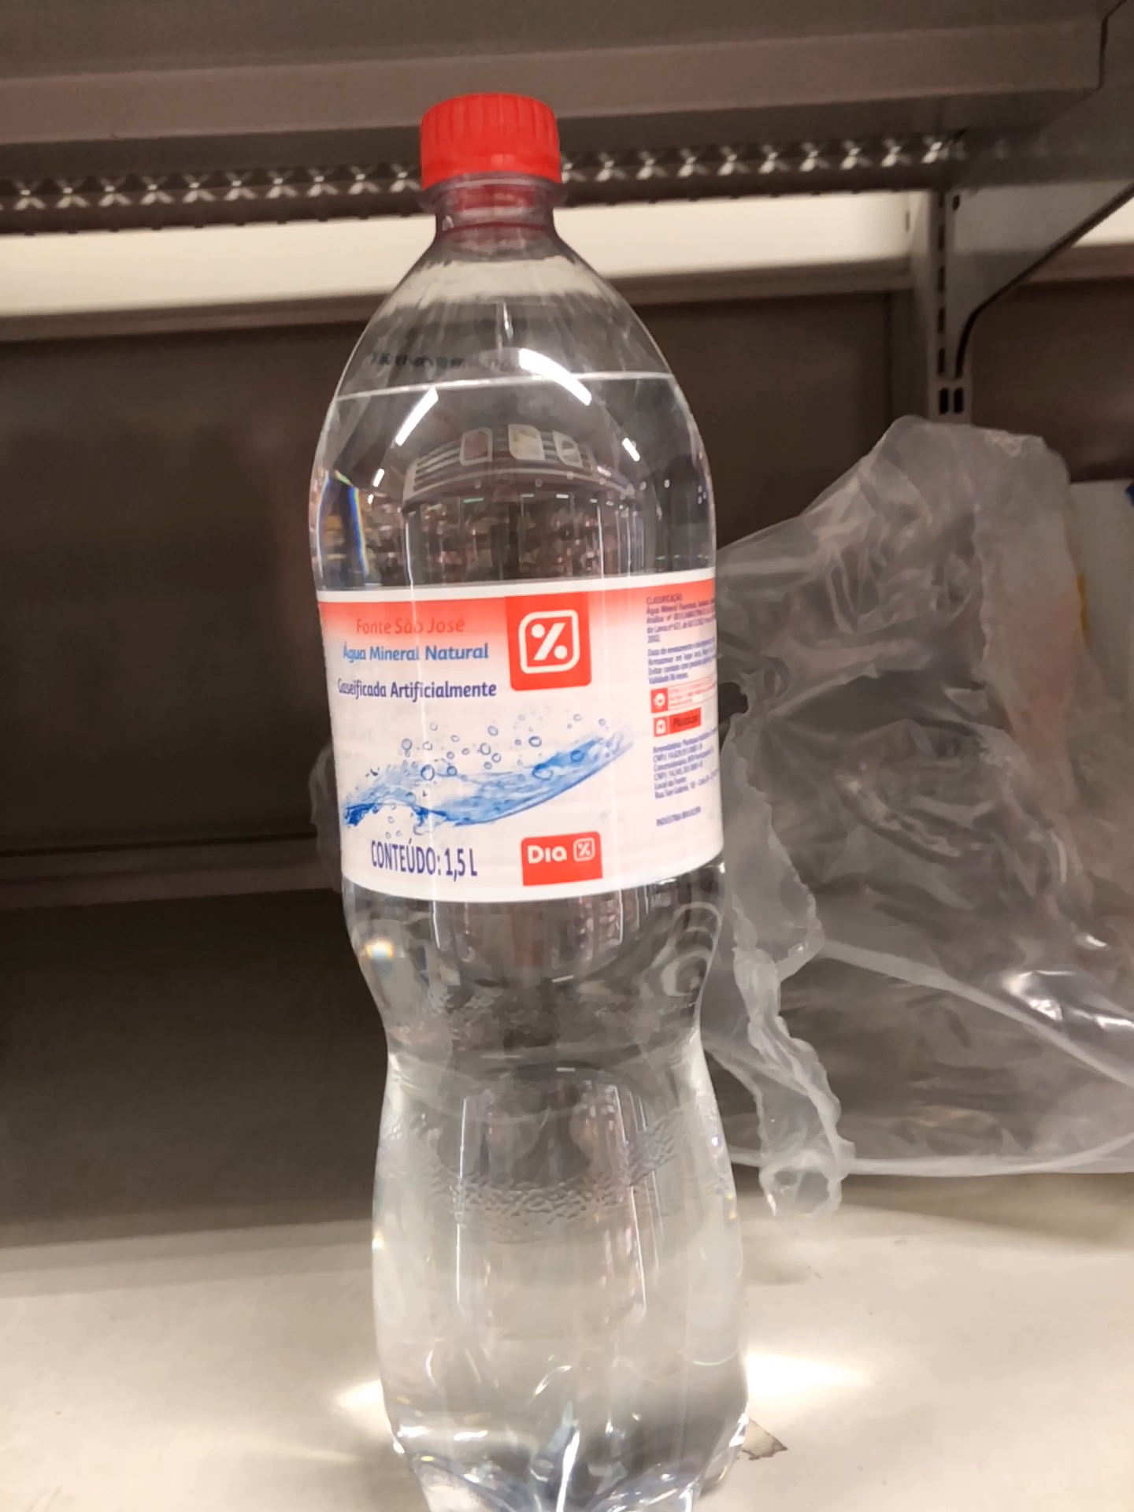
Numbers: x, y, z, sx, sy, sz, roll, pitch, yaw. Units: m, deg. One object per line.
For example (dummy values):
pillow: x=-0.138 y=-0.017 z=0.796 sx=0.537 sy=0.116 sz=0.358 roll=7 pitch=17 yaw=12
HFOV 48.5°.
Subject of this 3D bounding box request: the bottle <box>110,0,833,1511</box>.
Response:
bottle: x=-0.007 y=0.011 z=0.288 sx=0.100 sy=0.319 sz=0.100 roll=-4 pitch=11 yaw=1
